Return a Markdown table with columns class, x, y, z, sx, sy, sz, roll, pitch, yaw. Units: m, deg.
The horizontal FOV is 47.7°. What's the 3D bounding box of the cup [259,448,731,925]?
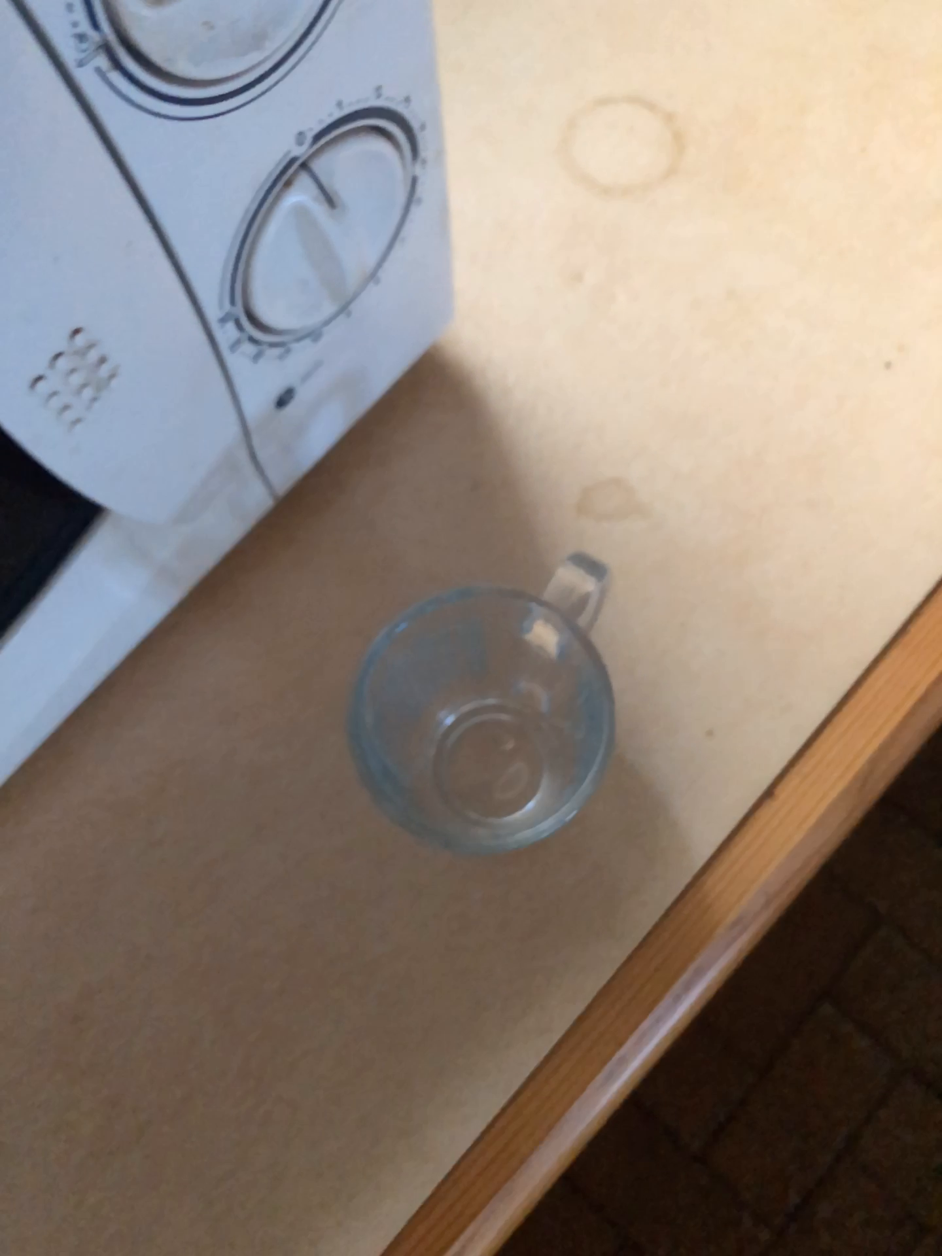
| class | x | y | z | sx | sy | sz | roll | pitch | yaw |
| --- | --- | --- | --- | --- | --- | --- | --- | --- | --- |
| cup | 0.007 | 0.018 | 0.253 | 0.060 | 0.070 | 0.080 | 38 | 79 | 12 |
